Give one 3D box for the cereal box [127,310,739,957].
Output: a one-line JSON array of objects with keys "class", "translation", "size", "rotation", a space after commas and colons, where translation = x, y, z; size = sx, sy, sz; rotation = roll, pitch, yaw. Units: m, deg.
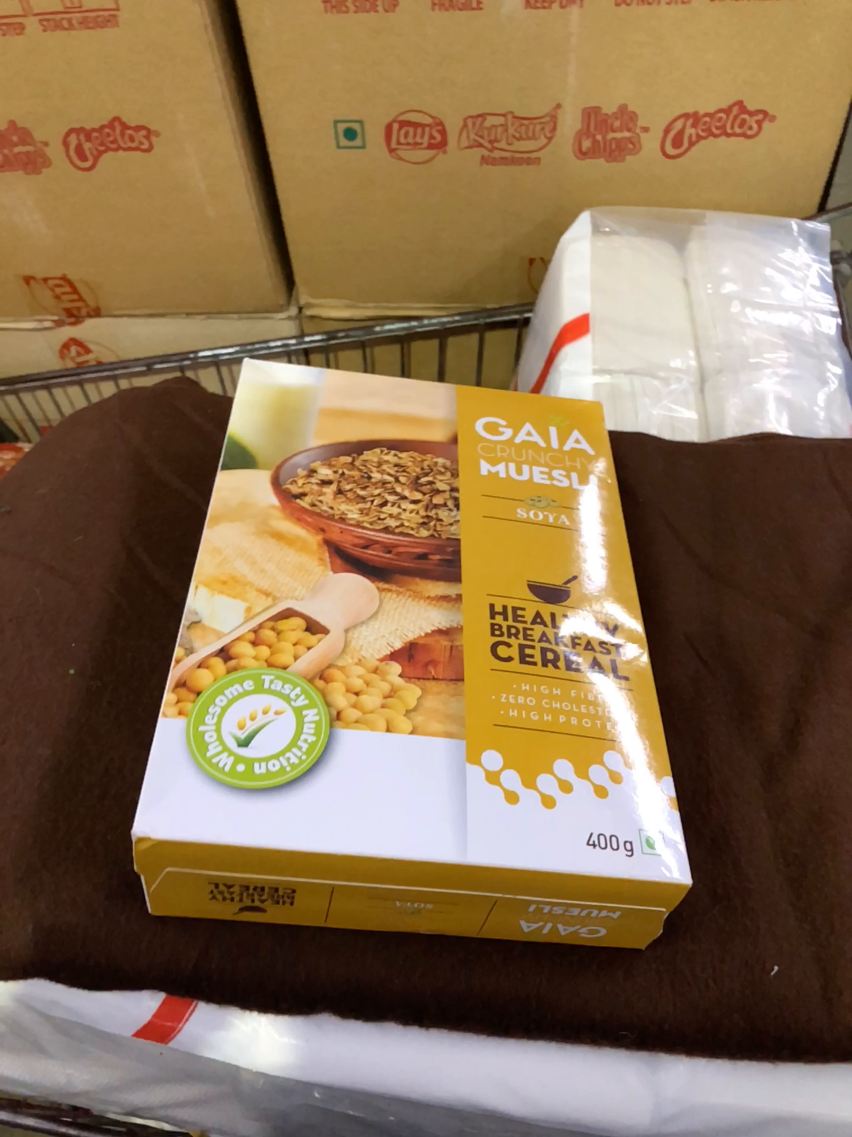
[{"class": "cereal box", "translation": [0.002, 0.009, 0.360], "size": [0.170, 0.060, 0.241], "rotation": [6, 50, -6]}]
